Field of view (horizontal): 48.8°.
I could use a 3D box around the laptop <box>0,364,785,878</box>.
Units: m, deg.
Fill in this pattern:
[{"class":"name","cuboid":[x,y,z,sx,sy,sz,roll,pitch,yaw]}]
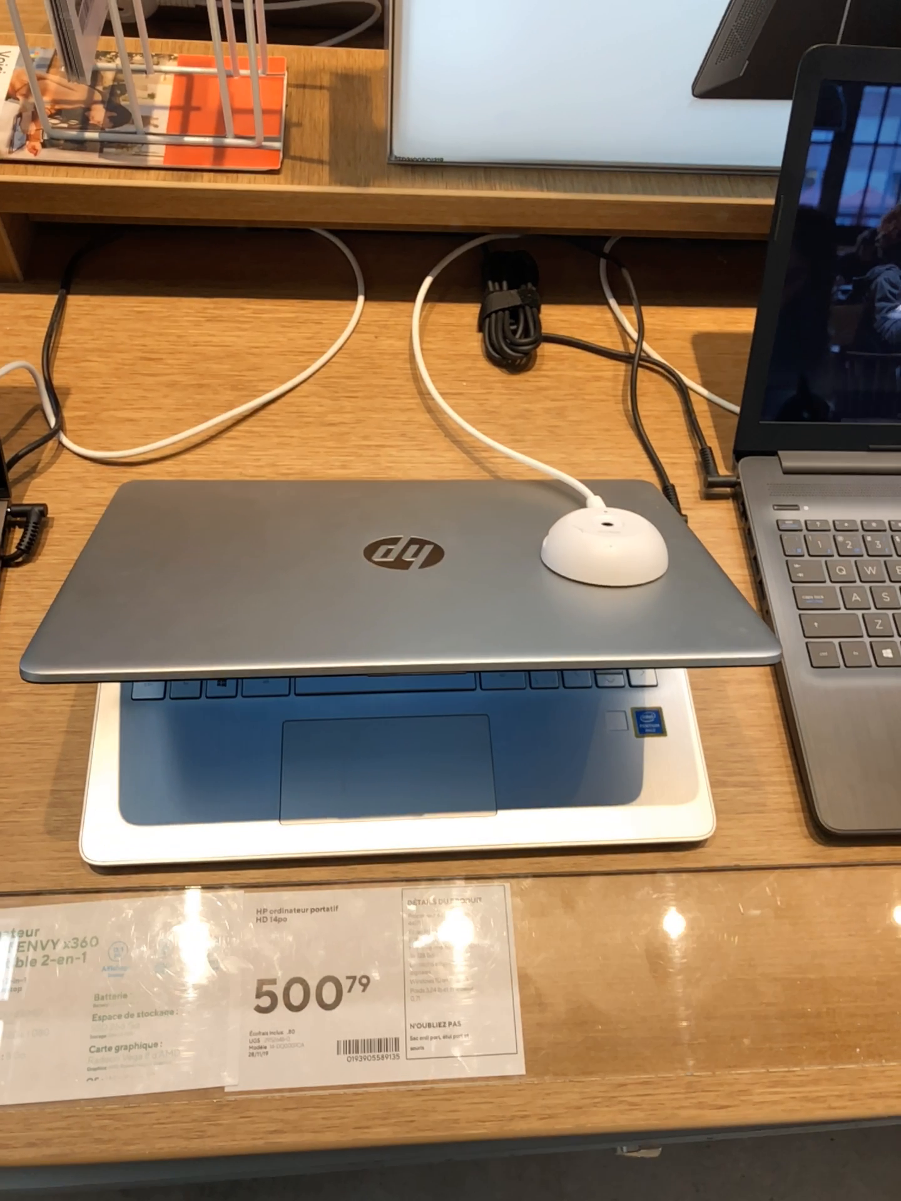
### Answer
[{"class":"laptop","cuboid":[-0.030,0.007,0.491,0.314,0.110,0.217,-1,62,-5]}]
